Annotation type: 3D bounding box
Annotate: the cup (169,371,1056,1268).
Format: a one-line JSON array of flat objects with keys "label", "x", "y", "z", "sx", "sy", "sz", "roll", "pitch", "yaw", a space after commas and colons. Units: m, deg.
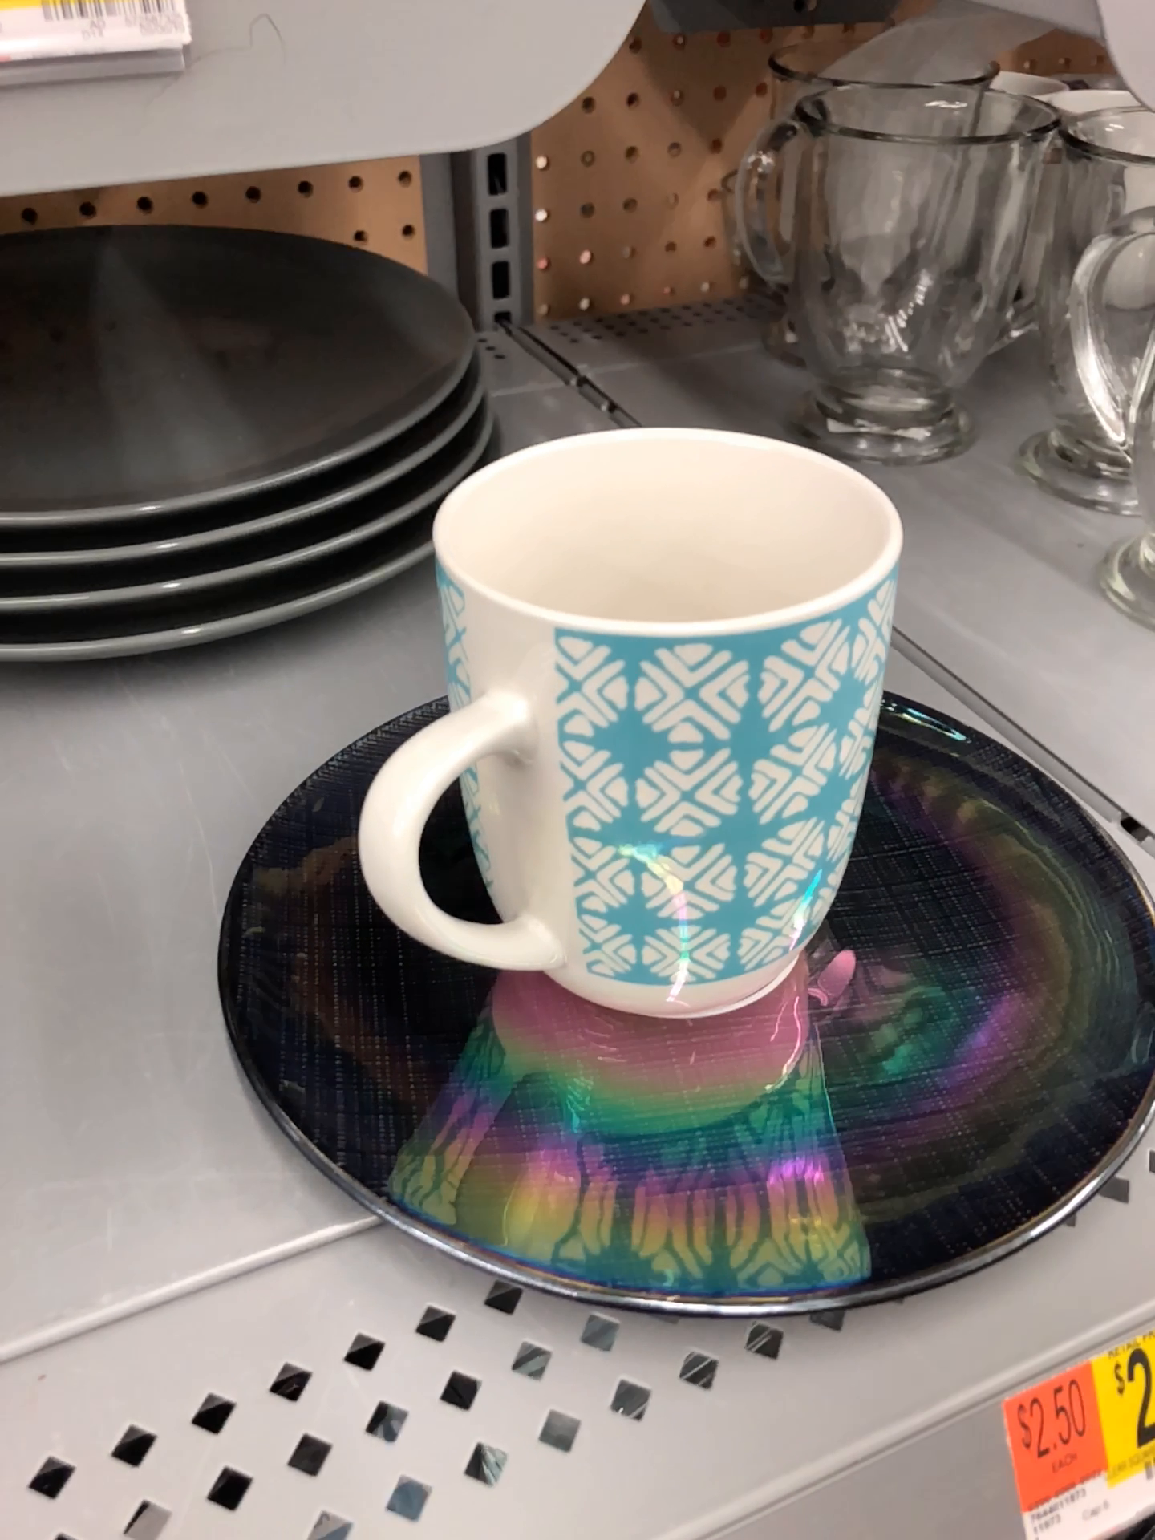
[{"label": "cup", "x": 0.010, "y": -0.002, "z": 0.244, "sx": 0.089, "sy": 0.098, "sz": 0.122, "roll": 29, "pitch": 45, "yaw": 34}]
